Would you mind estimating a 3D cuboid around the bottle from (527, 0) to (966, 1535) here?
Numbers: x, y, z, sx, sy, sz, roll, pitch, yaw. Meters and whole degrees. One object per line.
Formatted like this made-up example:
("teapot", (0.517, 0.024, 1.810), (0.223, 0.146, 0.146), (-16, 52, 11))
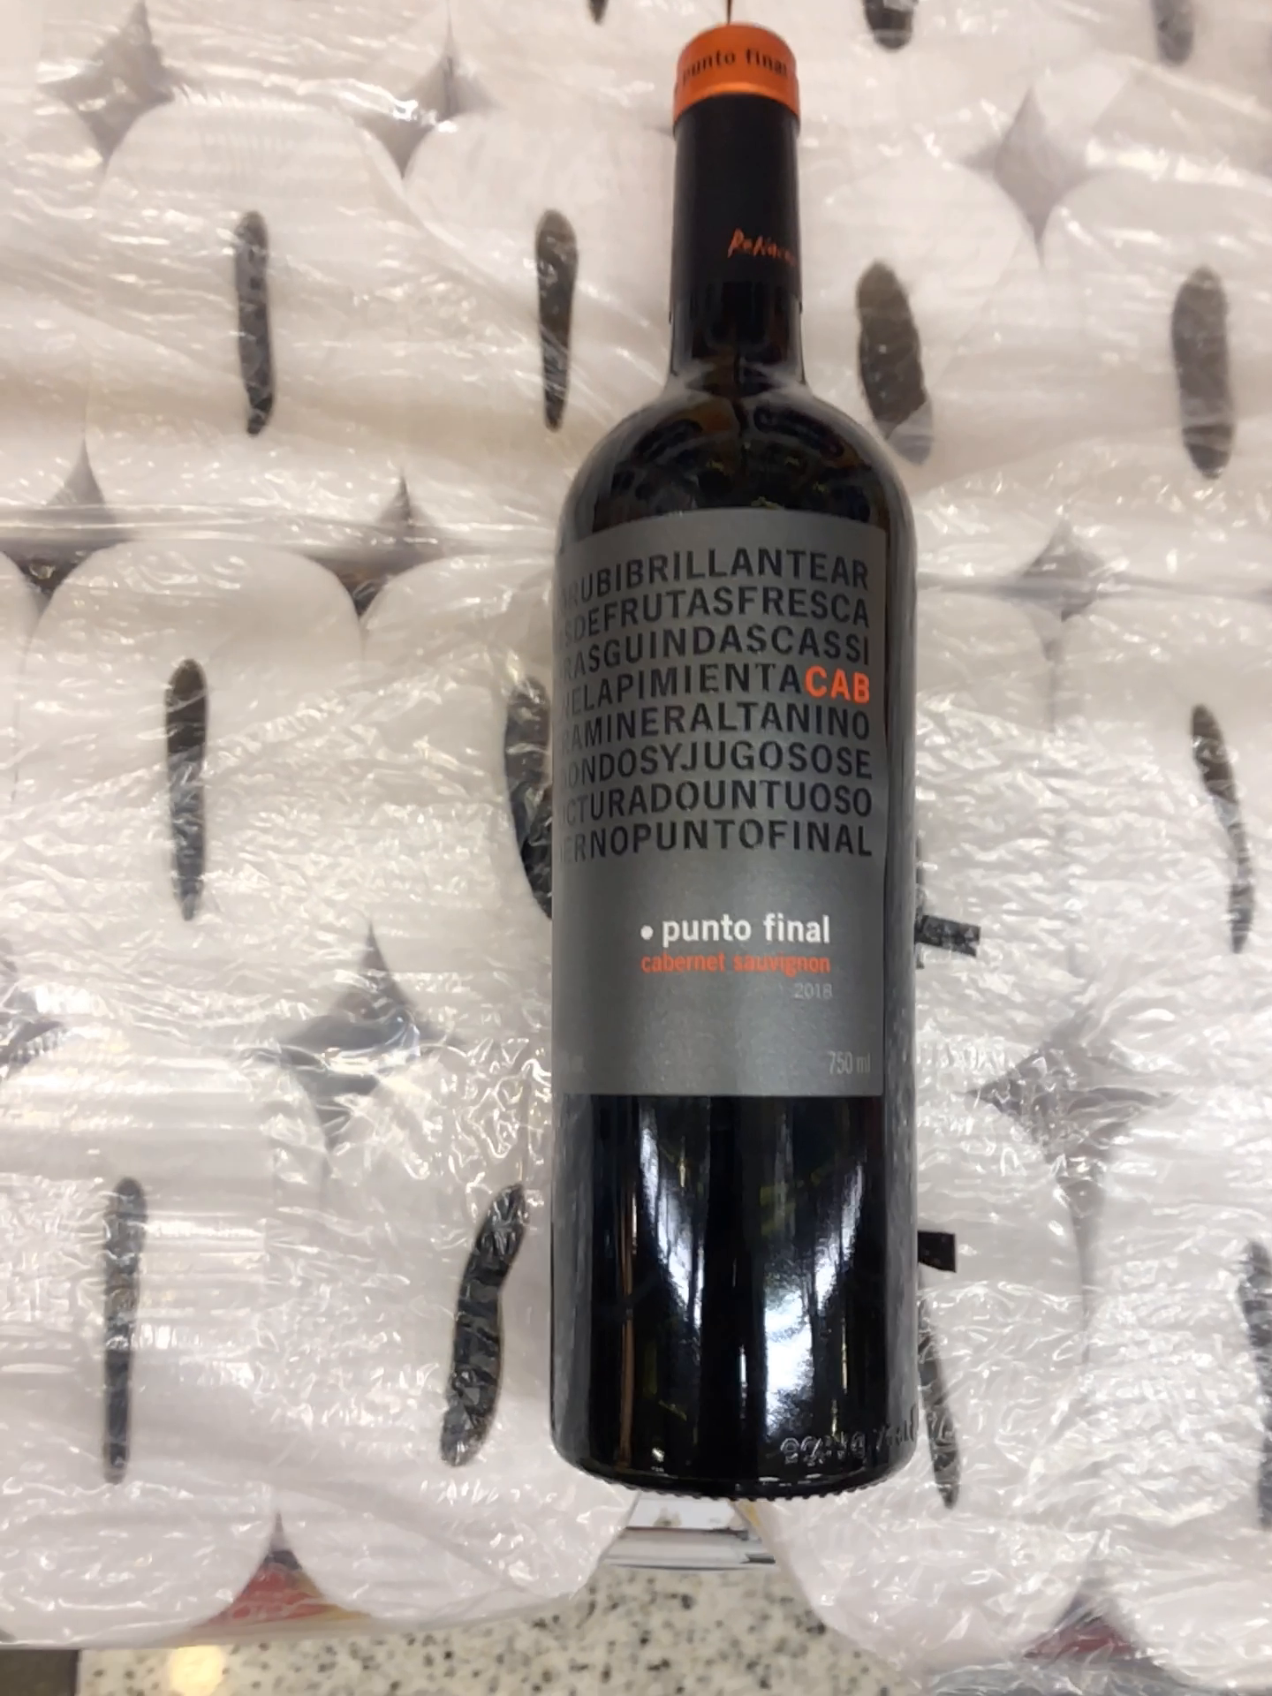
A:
("bottle", (0.017, -0.038, 0.283), (0.070, 0.060, 0.310), (1, 79, -4))
